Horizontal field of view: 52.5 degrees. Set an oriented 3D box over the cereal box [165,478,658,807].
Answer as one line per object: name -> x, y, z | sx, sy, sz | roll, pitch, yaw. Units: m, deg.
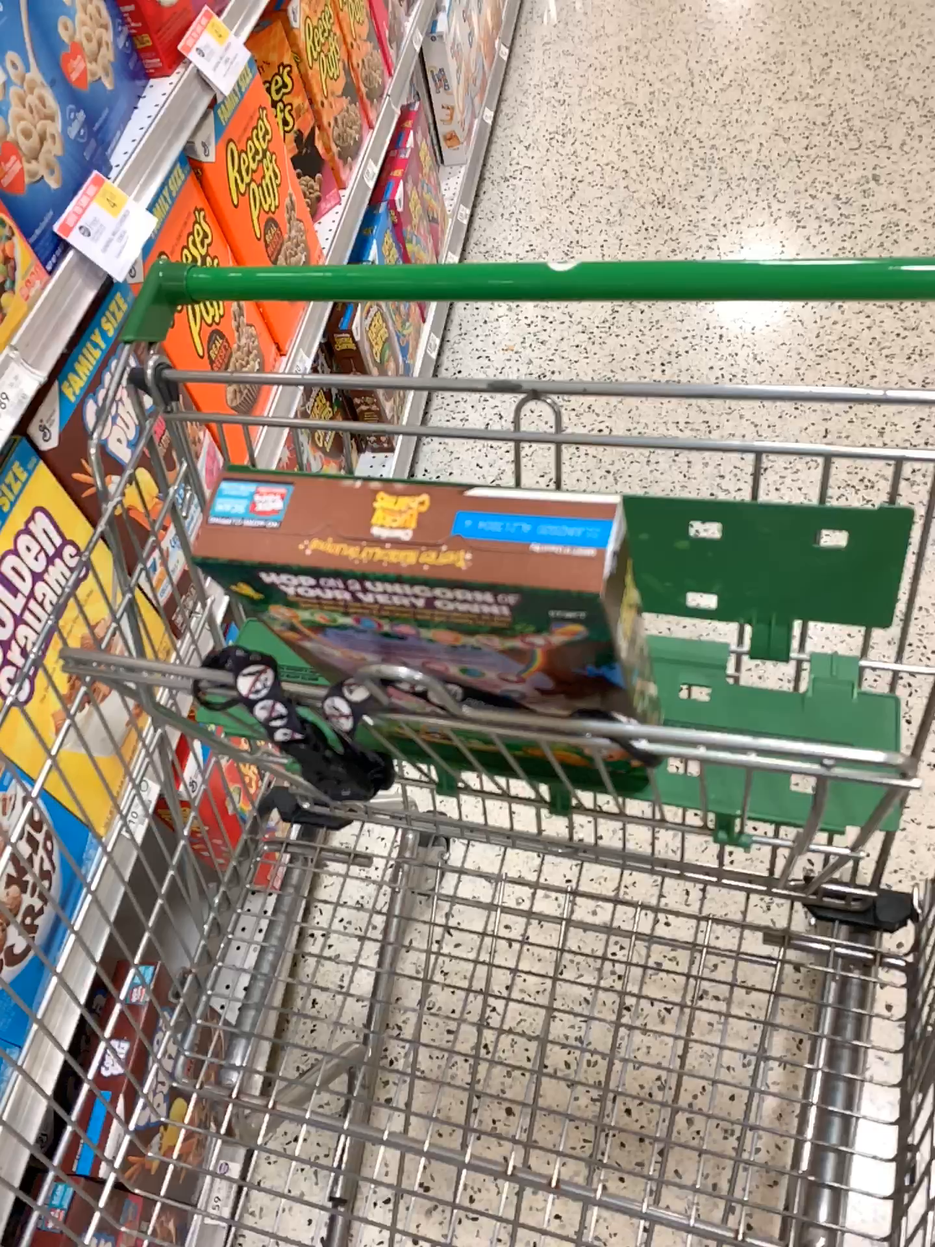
cereal box -> -0.004, 0.026, 0.543 | 0.200, 0.298, 0.050 | 6, 66, 17
